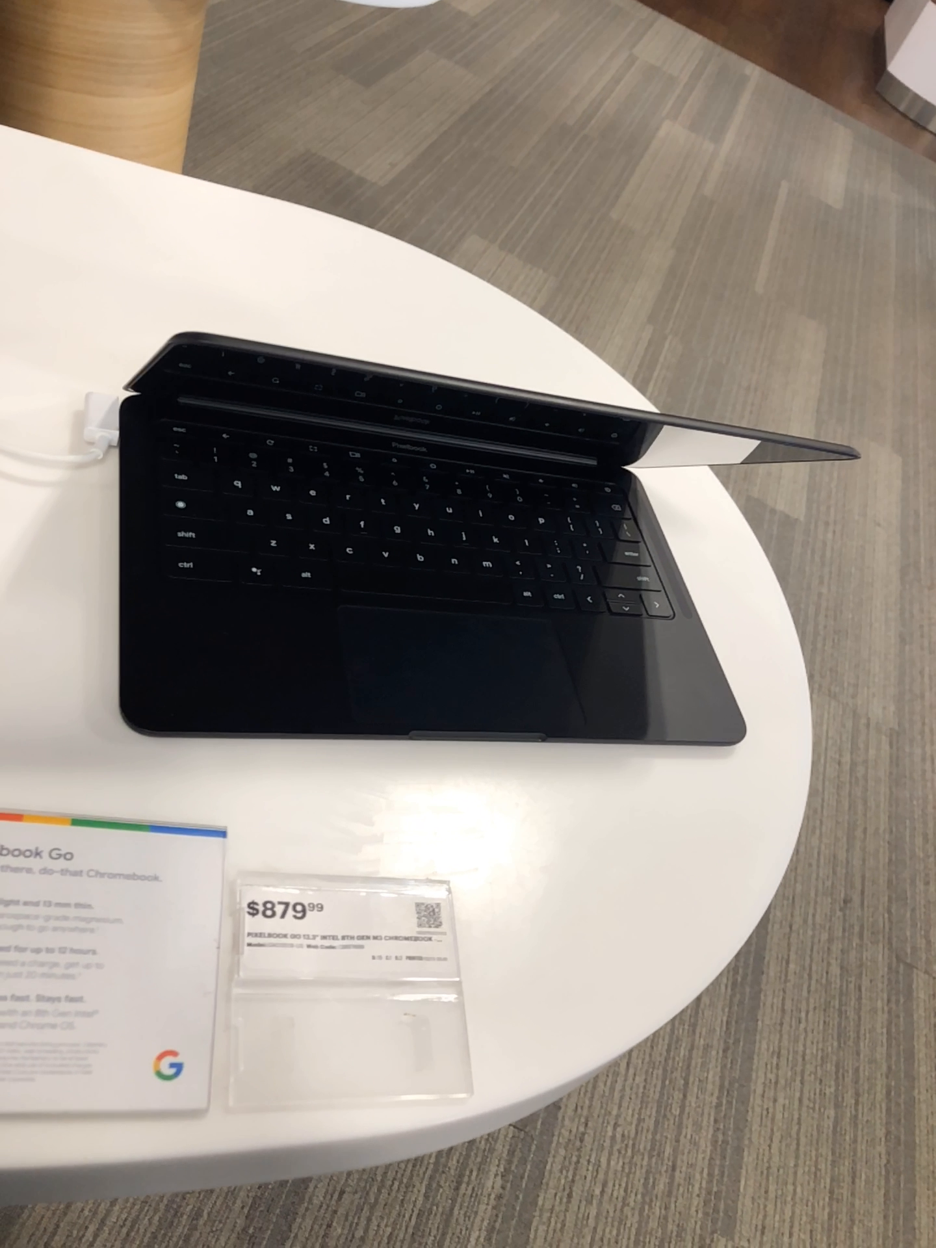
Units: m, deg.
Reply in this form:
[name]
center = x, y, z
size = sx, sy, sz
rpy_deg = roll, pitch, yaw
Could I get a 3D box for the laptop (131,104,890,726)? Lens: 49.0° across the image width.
[laptop]
center = 0.003, -0.076, 0.458
size = 0.278, 0.147, 0.192
rpy_deg = 4, 49, -26
